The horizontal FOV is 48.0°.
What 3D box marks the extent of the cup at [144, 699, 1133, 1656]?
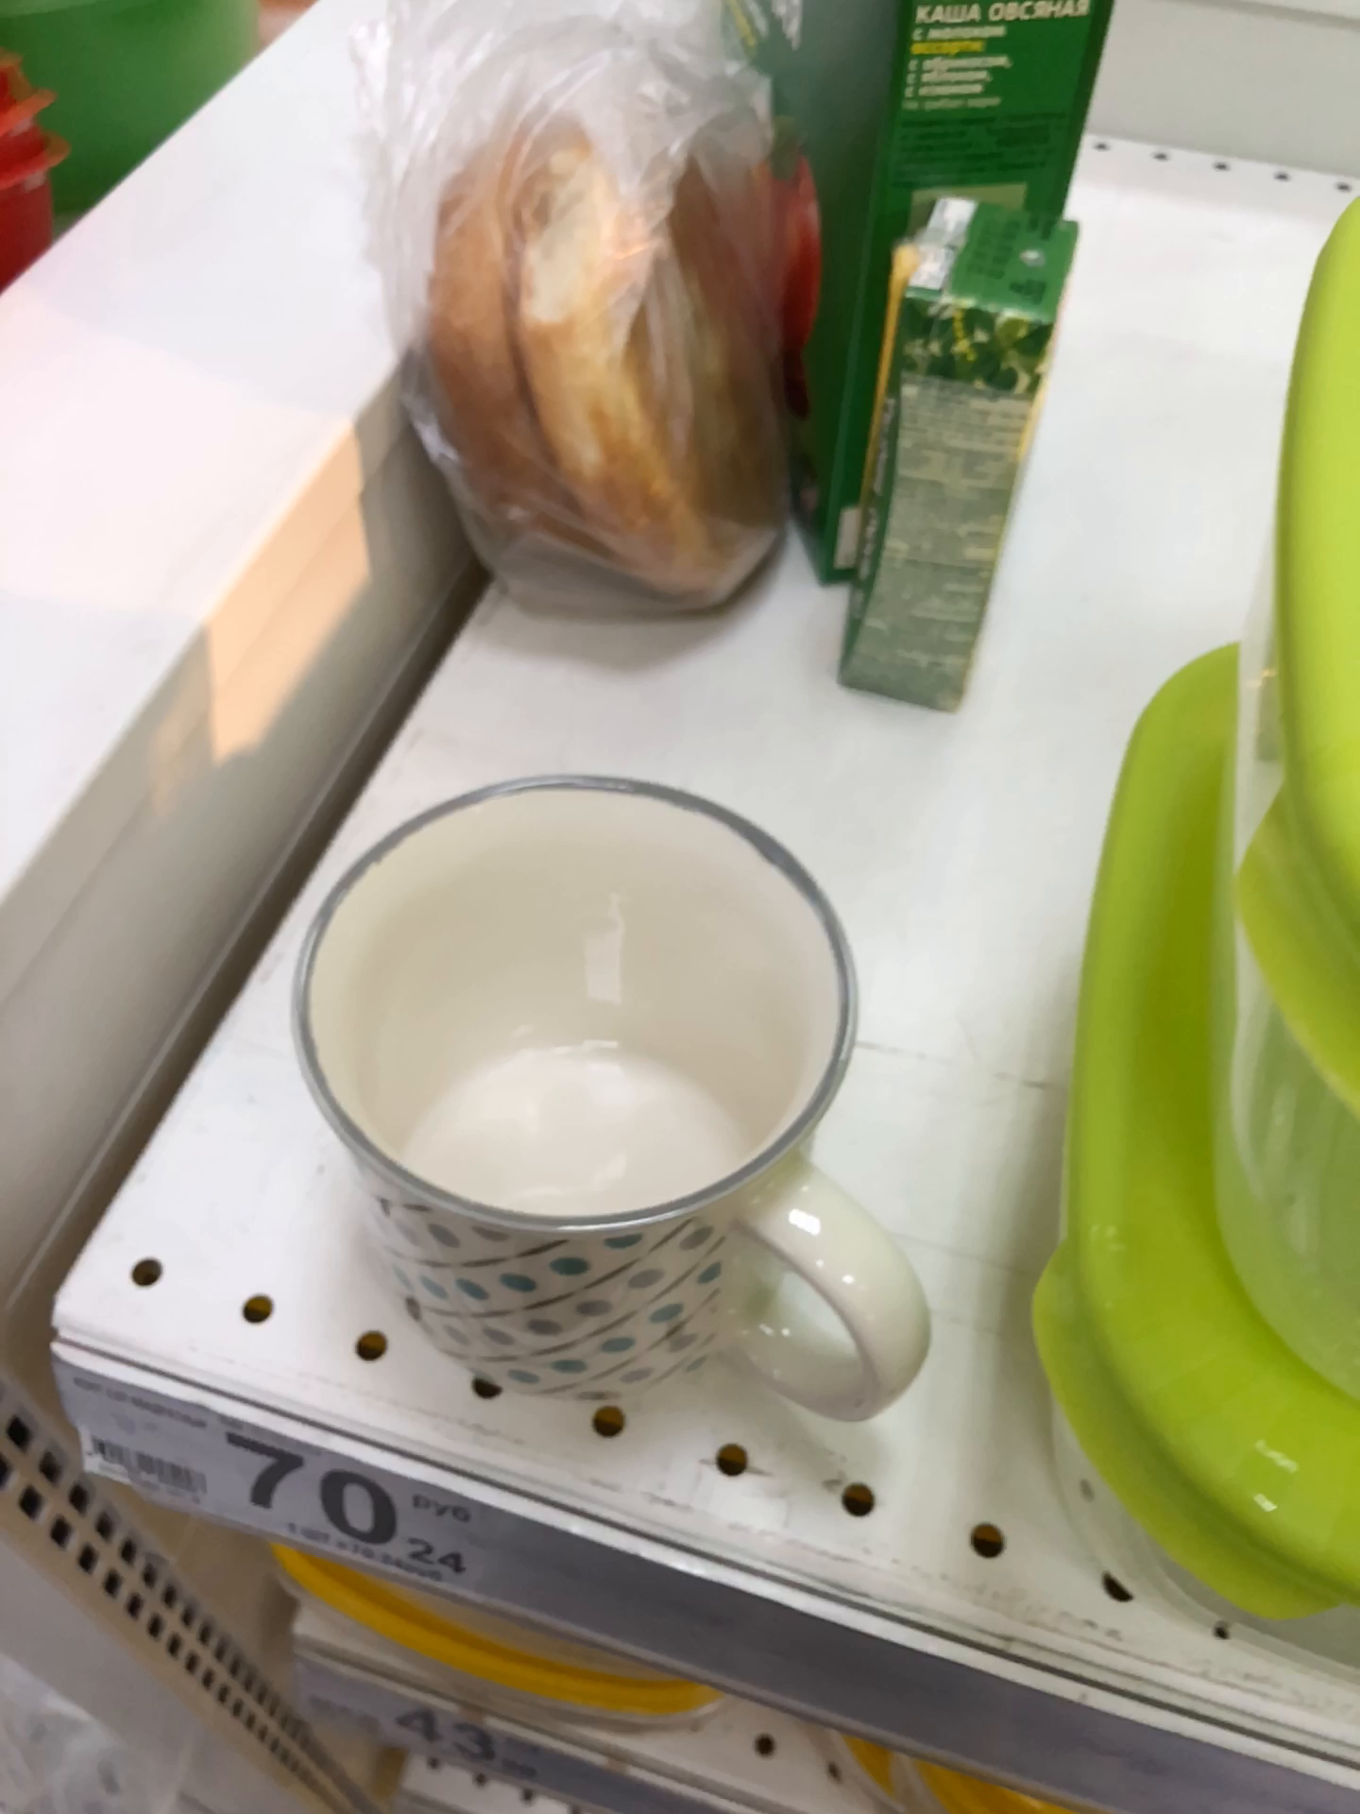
[{"bbox_3d":[-0.006,0.045,0.278,0.128,0.082,0.096,28,56,19],"label":"cup"}]
